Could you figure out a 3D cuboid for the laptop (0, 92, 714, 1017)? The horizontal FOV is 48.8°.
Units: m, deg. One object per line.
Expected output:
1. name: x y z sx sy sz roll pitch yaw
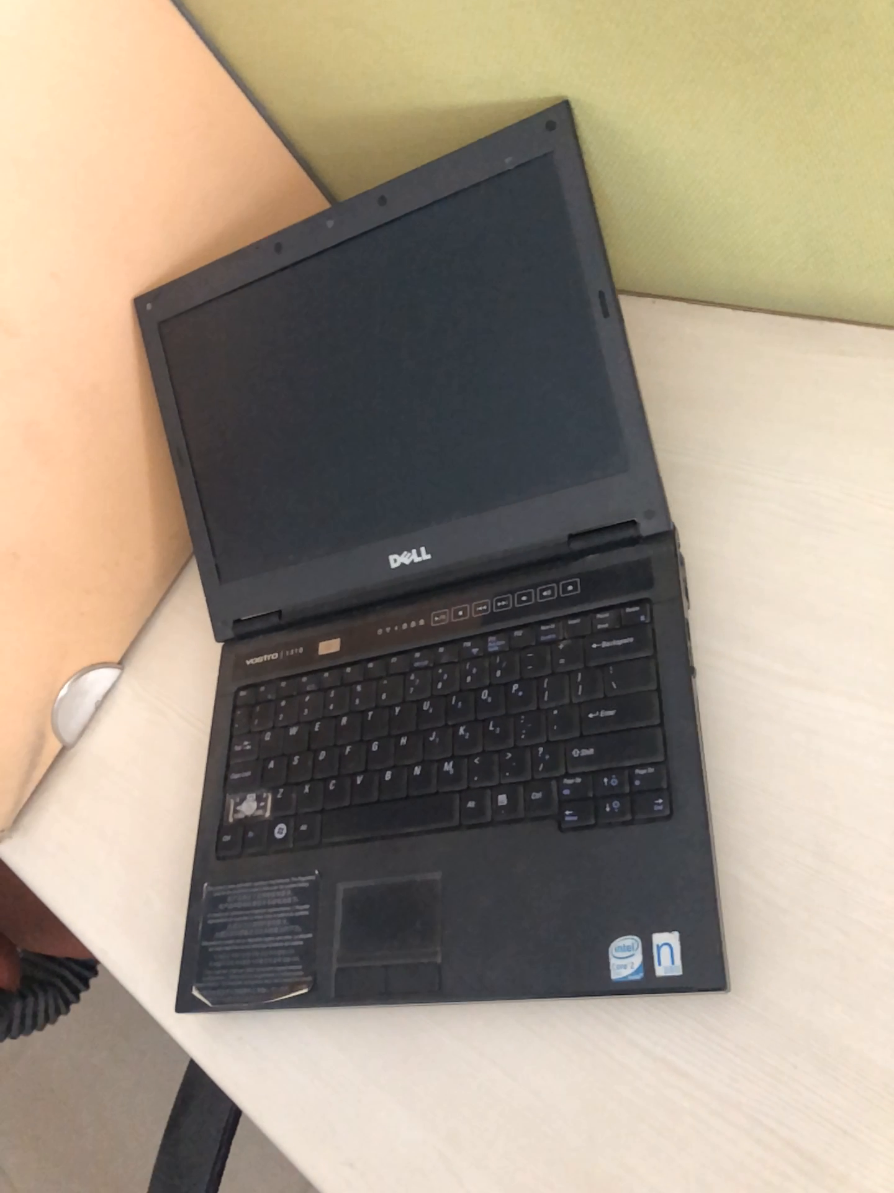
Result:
1. laptop: -0.047 -0.018 0.540 0.306 0.125 0.431 -14 58 26
